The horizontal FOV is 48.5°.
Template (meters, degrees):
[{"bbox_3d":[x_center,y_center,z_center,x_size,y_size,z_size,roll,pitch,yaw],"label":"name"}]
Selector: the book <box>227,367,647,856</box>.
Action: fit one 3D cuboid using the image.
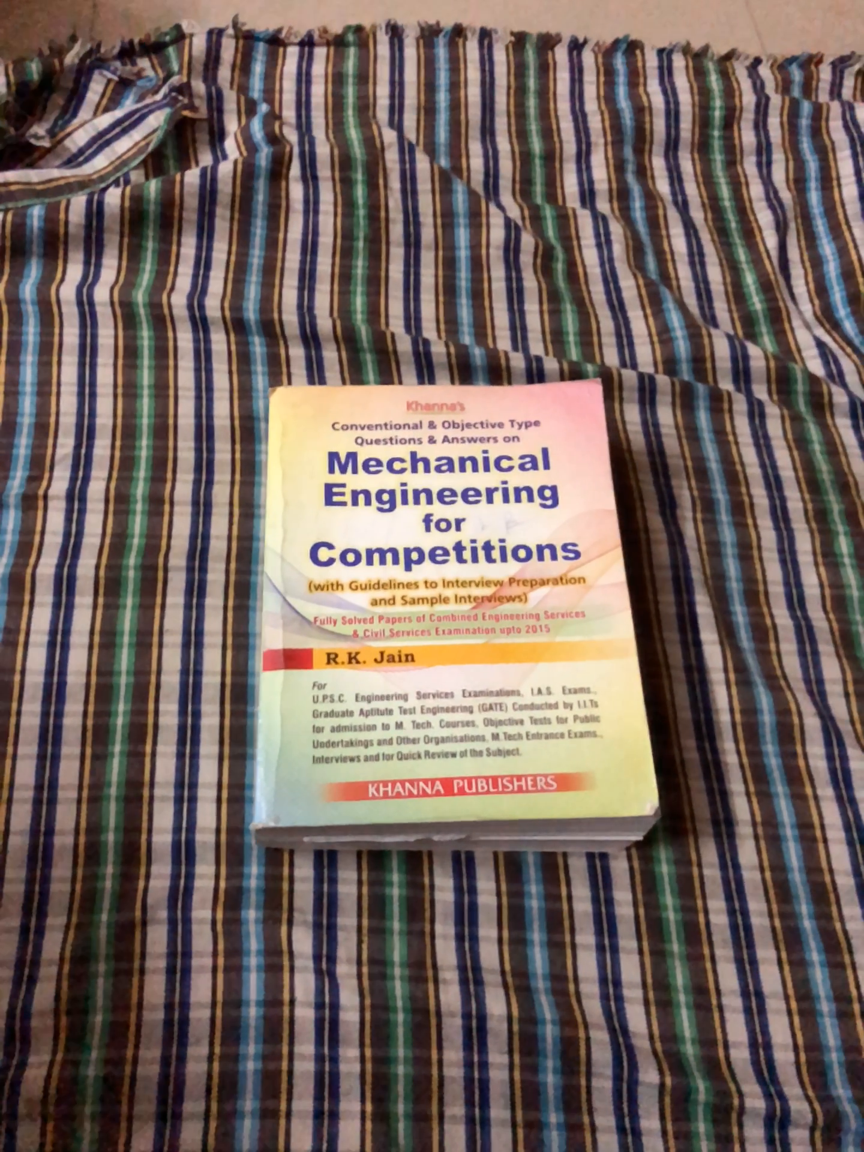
[{"bbox_3d":[-0.001,0.015,0.573,0.210,0.078,0.280,0,64,-4],"label":"book"}]
